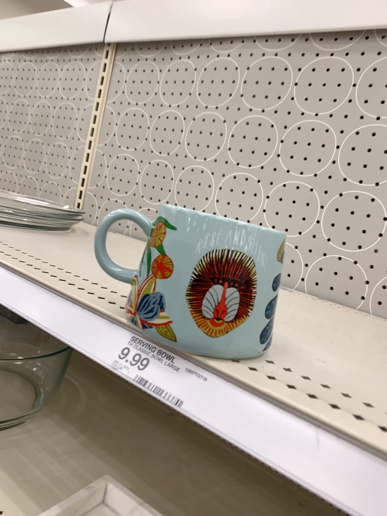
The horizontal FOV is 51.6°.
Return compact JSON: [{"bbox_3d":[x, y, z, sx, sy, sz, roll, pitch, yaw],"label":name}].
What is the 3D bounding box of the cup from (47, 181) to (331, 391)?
[{"bbox_3d":[-0.004,0.010,0.280,0.140,0.090,0.120,12,7,-3],"label":"cup"}]
